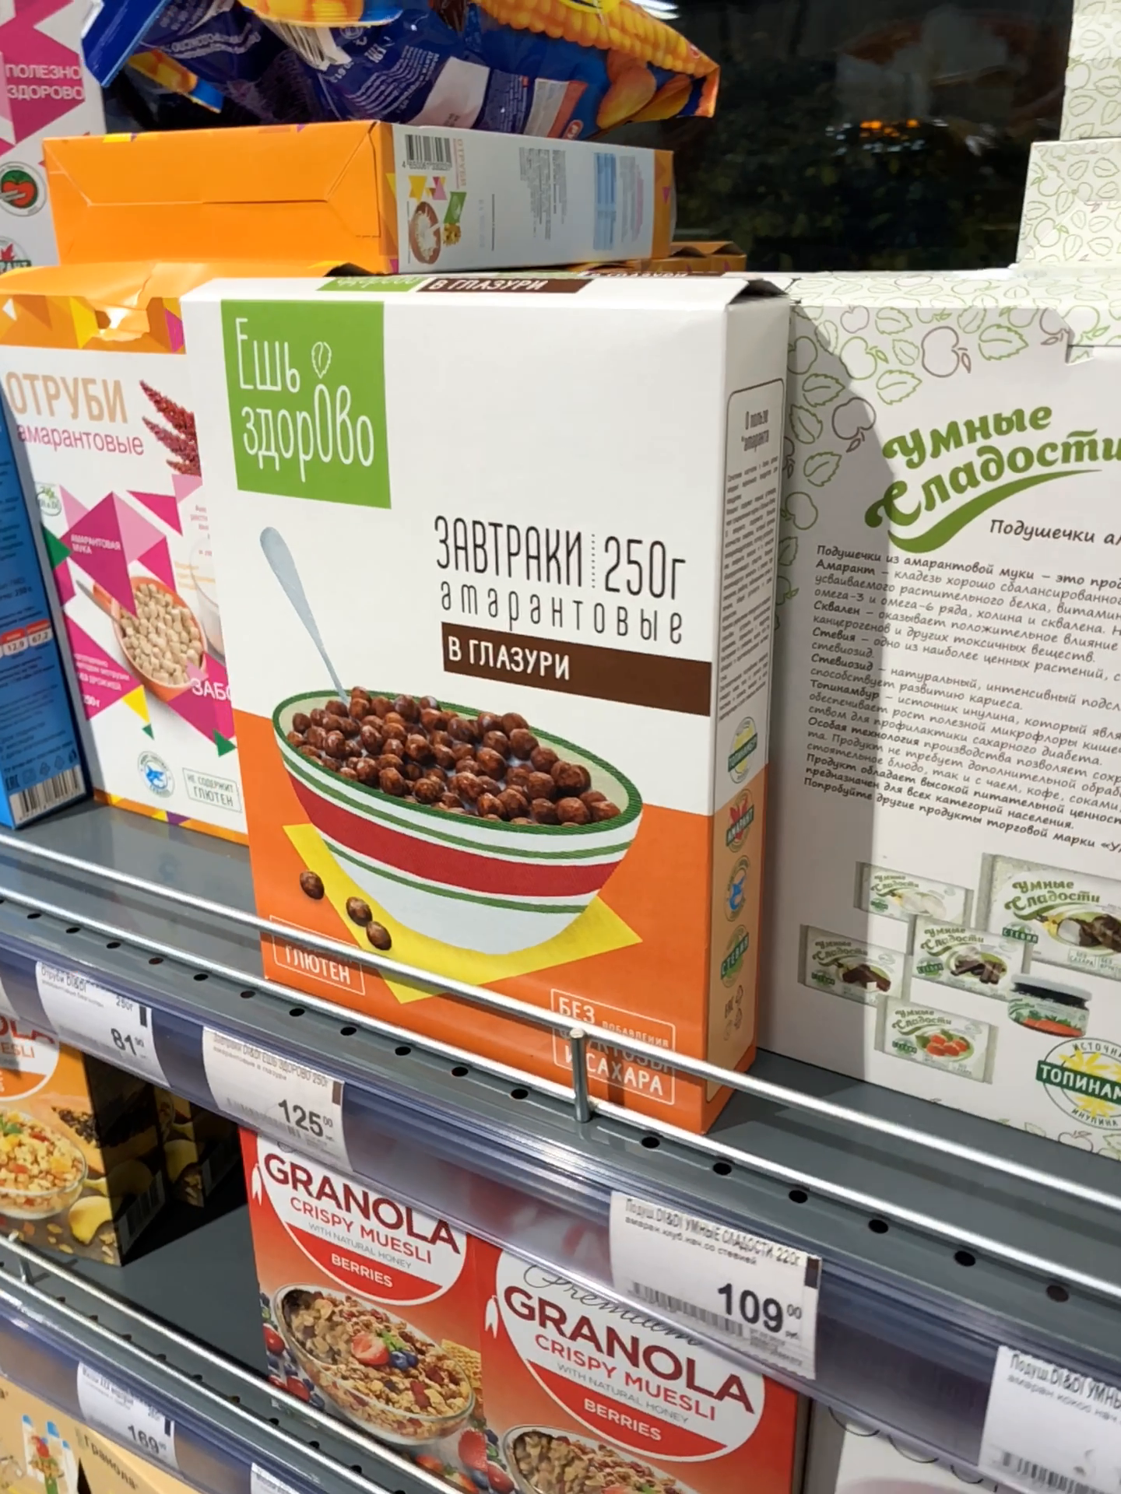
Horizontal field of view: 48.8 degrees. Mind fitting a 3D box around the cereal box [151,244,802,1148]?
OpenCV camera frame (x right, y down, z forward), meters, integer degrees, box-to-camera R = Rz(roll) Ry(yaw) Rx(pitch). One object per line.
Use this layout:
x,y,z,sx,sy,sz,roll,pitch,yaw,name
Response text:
-0.027,-0.021,0.400,0.190,0.259,0.050,11,25,29,cereal box
